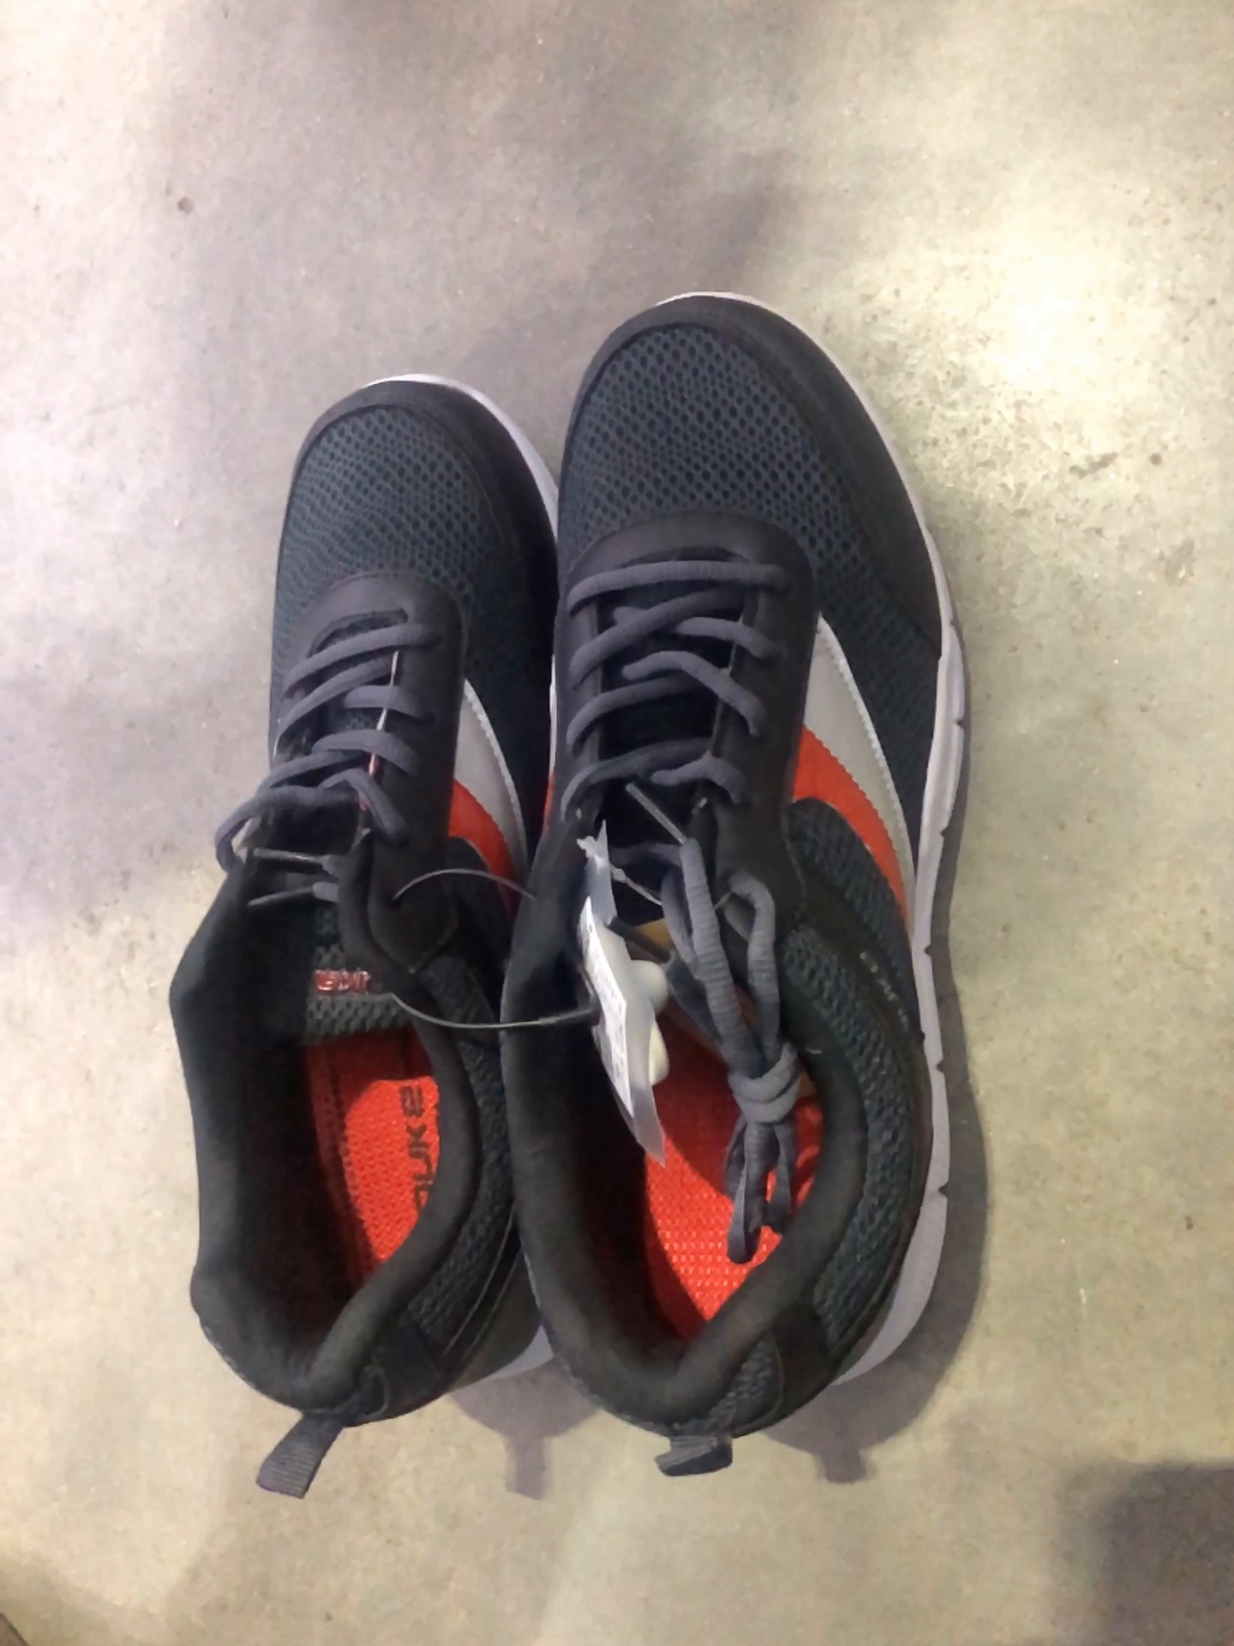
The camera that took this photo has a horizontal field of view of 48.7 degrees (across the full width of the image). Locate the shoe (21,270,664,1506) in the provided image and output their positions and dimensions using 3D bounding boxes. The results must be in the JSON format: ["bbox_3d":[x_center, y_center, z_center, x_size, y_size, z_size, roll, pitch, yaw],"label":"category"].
[{"bbox_3d":[-0.070,0.018,0.363,0.110,0.100,0.270,-8,84,21],"label":"shoe"}]

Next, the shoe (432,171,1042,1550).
[{"bbox_3d":[0.033,0.008,0.333,0.110,0.100,0.270,-4,85,22],"label":"shoe"}]
